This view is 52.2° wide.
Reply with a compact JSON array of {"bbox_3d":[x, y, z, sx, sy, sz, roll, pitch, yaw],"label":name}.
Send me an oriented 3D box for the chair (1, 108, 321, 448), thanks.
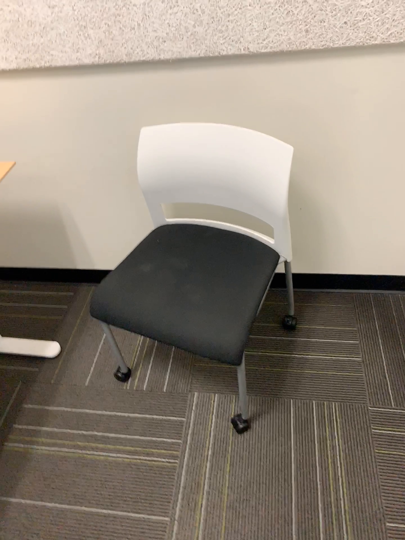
[{"bbox_3d":[-0.030,0.016,1.332,0.621,0.775,0.622,12,48,20],"label":"chair"}]
